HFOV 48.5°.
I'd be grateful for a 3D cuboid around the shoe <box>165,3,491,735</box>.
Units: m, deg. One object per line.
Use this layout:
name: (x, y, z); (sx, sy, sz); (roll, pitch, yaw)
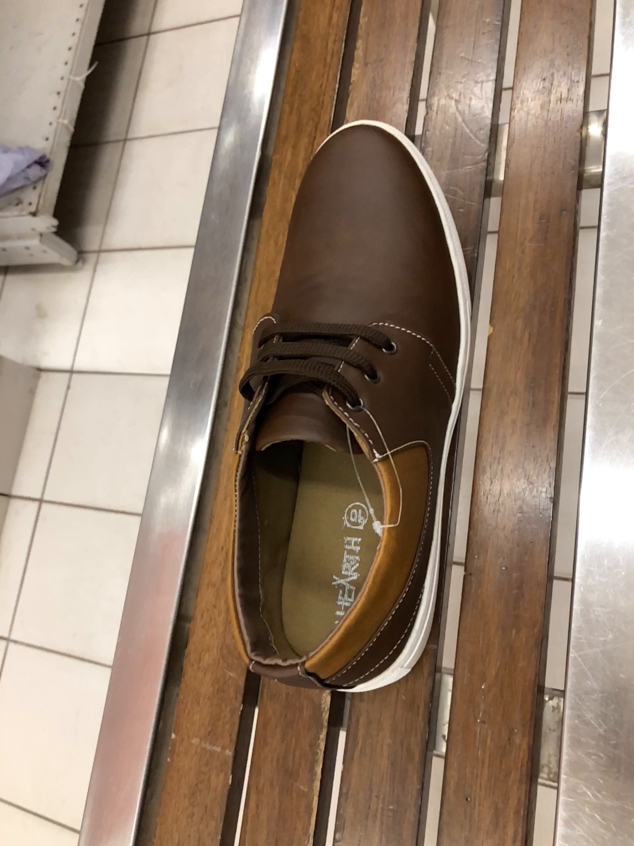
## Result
shoe: (0.016, -0.030, 0.342); (0.100, 0.080, 0.310); (1, 77, 25)
